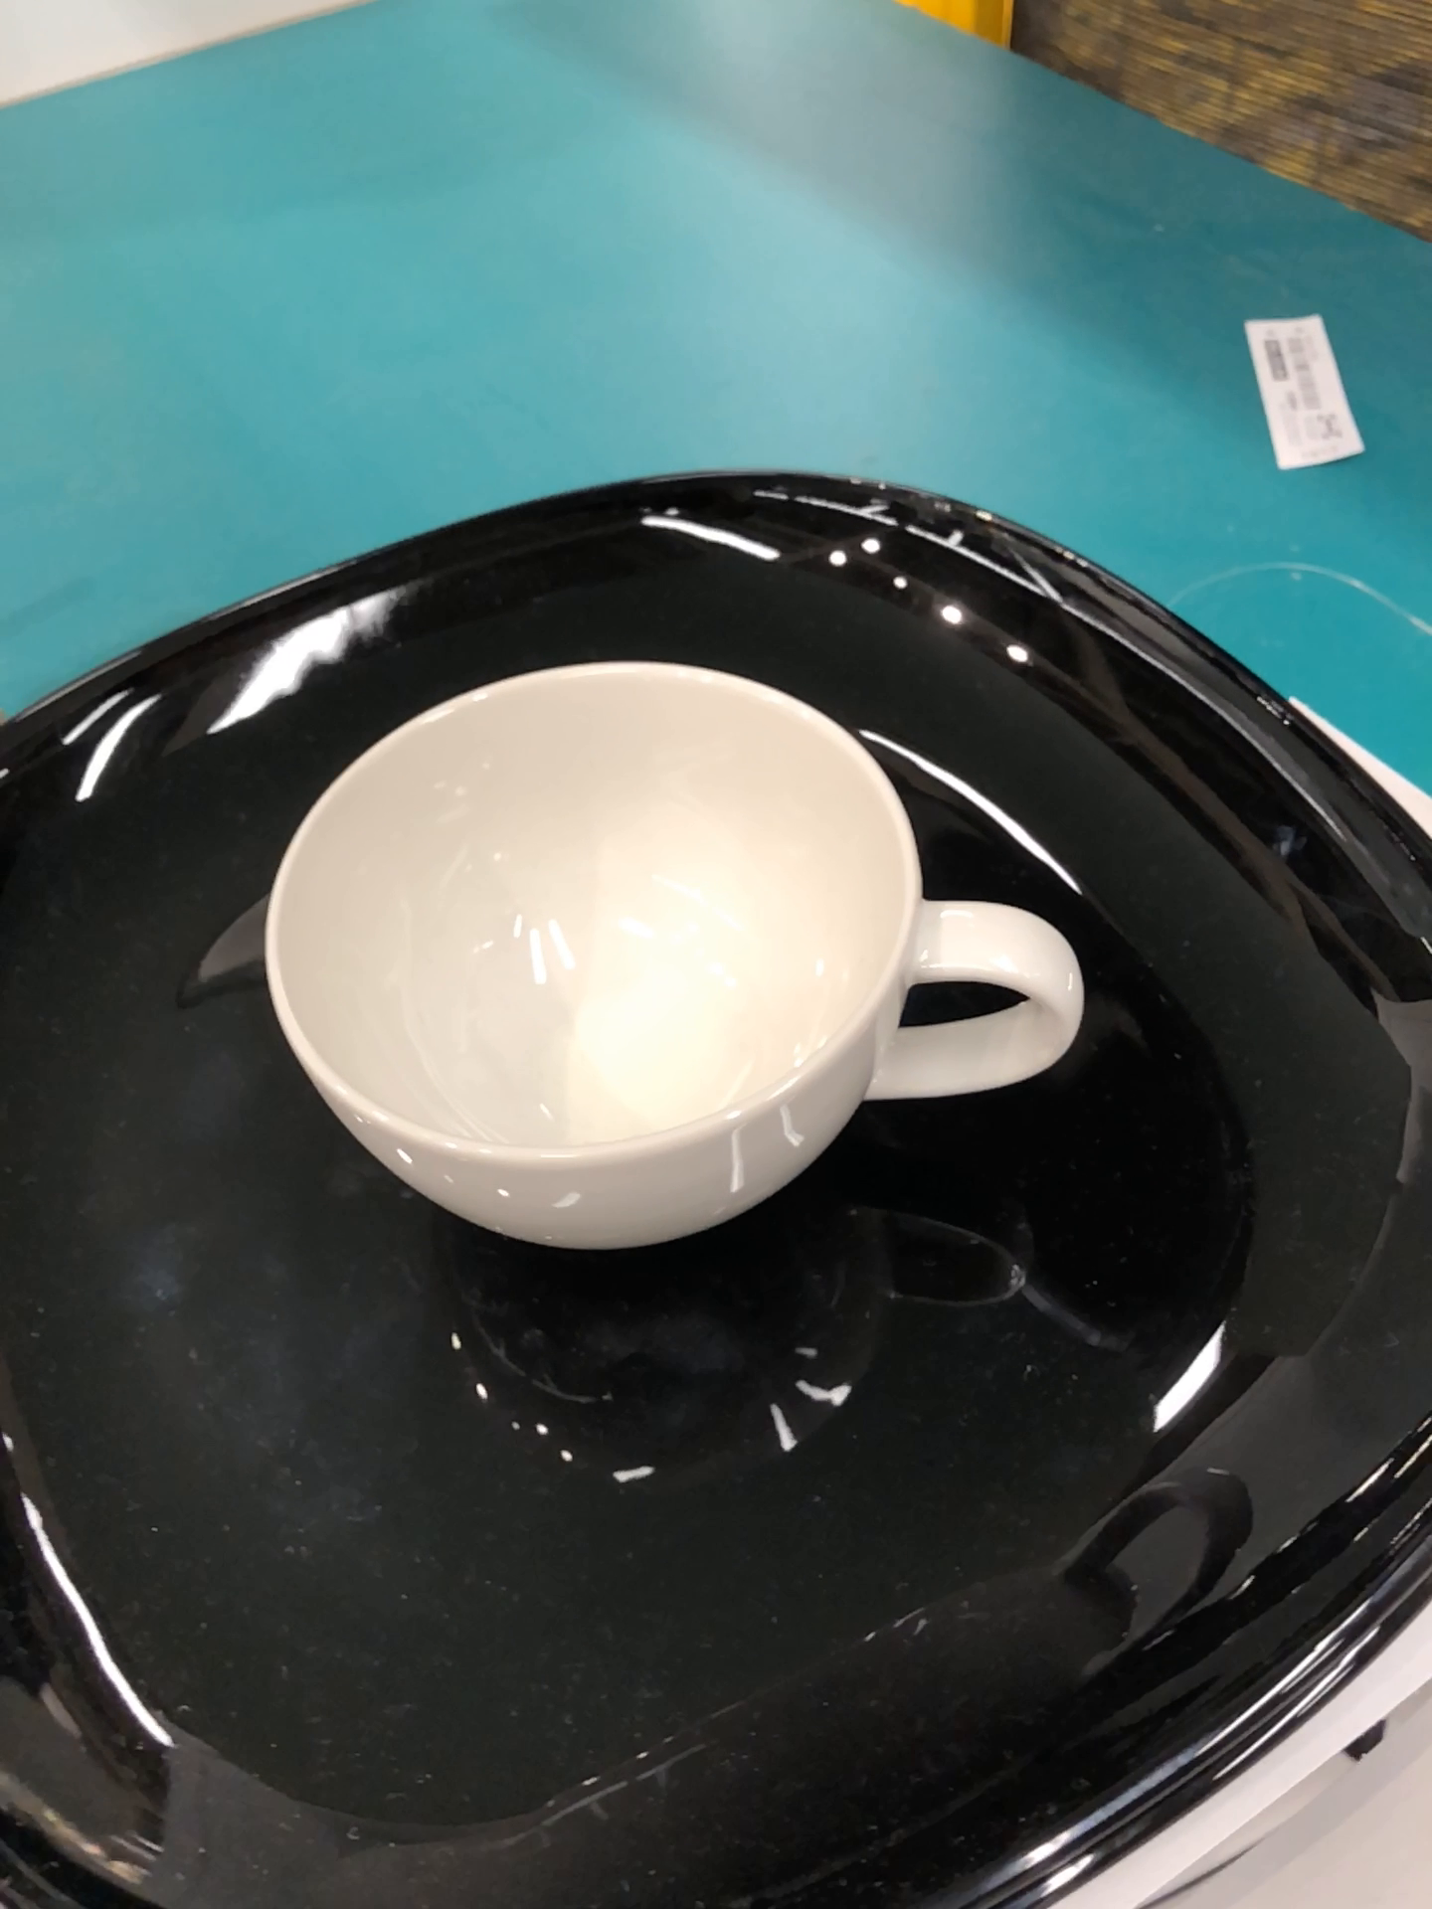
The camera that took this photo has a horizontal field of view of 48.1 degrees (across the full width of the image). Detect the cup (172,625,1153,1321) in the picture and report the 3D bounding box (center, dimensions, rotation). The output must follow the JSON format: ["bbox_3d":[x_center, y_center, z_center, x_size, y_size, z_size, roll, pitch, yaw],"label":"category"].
[{"bbox_3d":[-0.005,0.000,0.262,0.130,0.040,0.110,-2,48,5],"label":"cup"}]
